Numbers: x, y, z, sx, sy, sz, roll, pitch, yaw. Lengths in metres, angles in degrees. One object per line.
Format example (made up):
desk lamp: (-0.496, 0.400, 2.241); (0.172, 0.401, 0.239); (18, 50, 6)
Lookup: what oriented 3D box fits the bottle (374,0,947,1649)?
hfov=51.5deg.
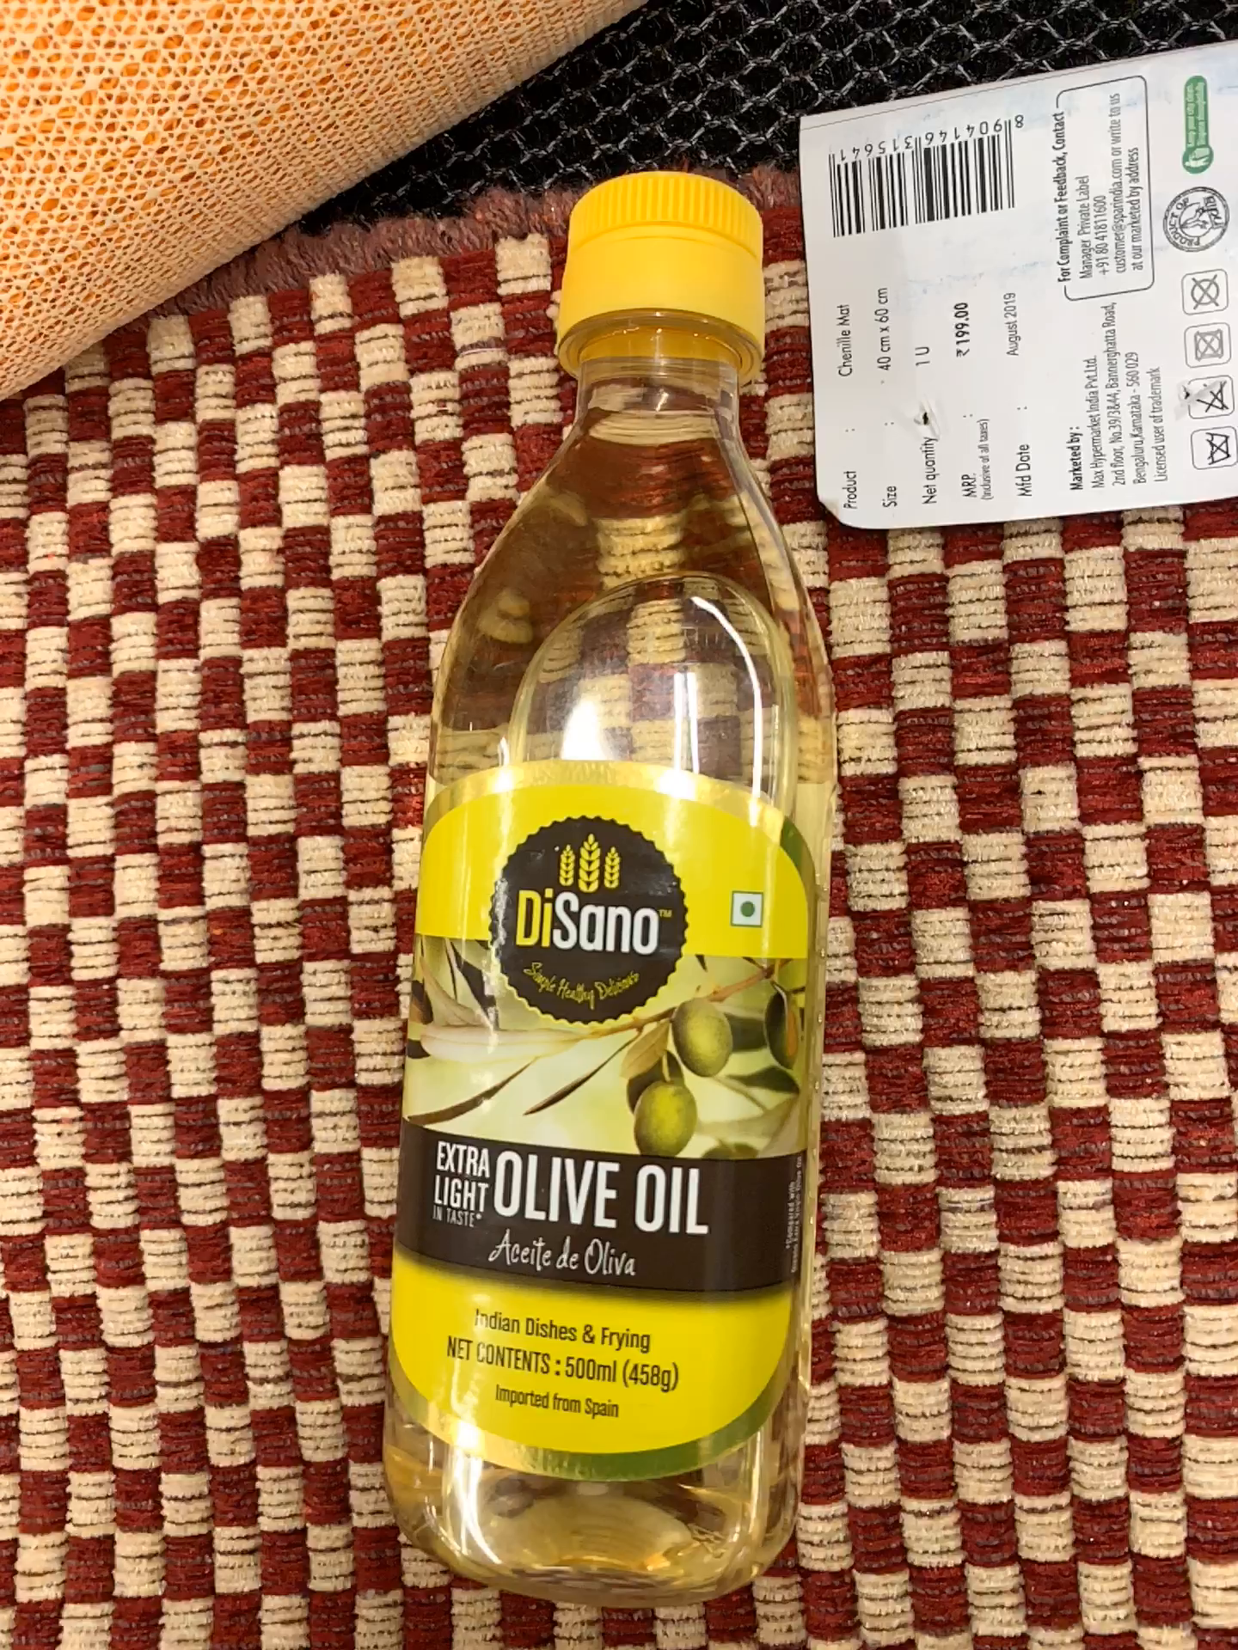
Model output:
bottle: (0.011, -0.004, 0.207); (0.070, 0.060, 0.230); (2, 88, 10)
